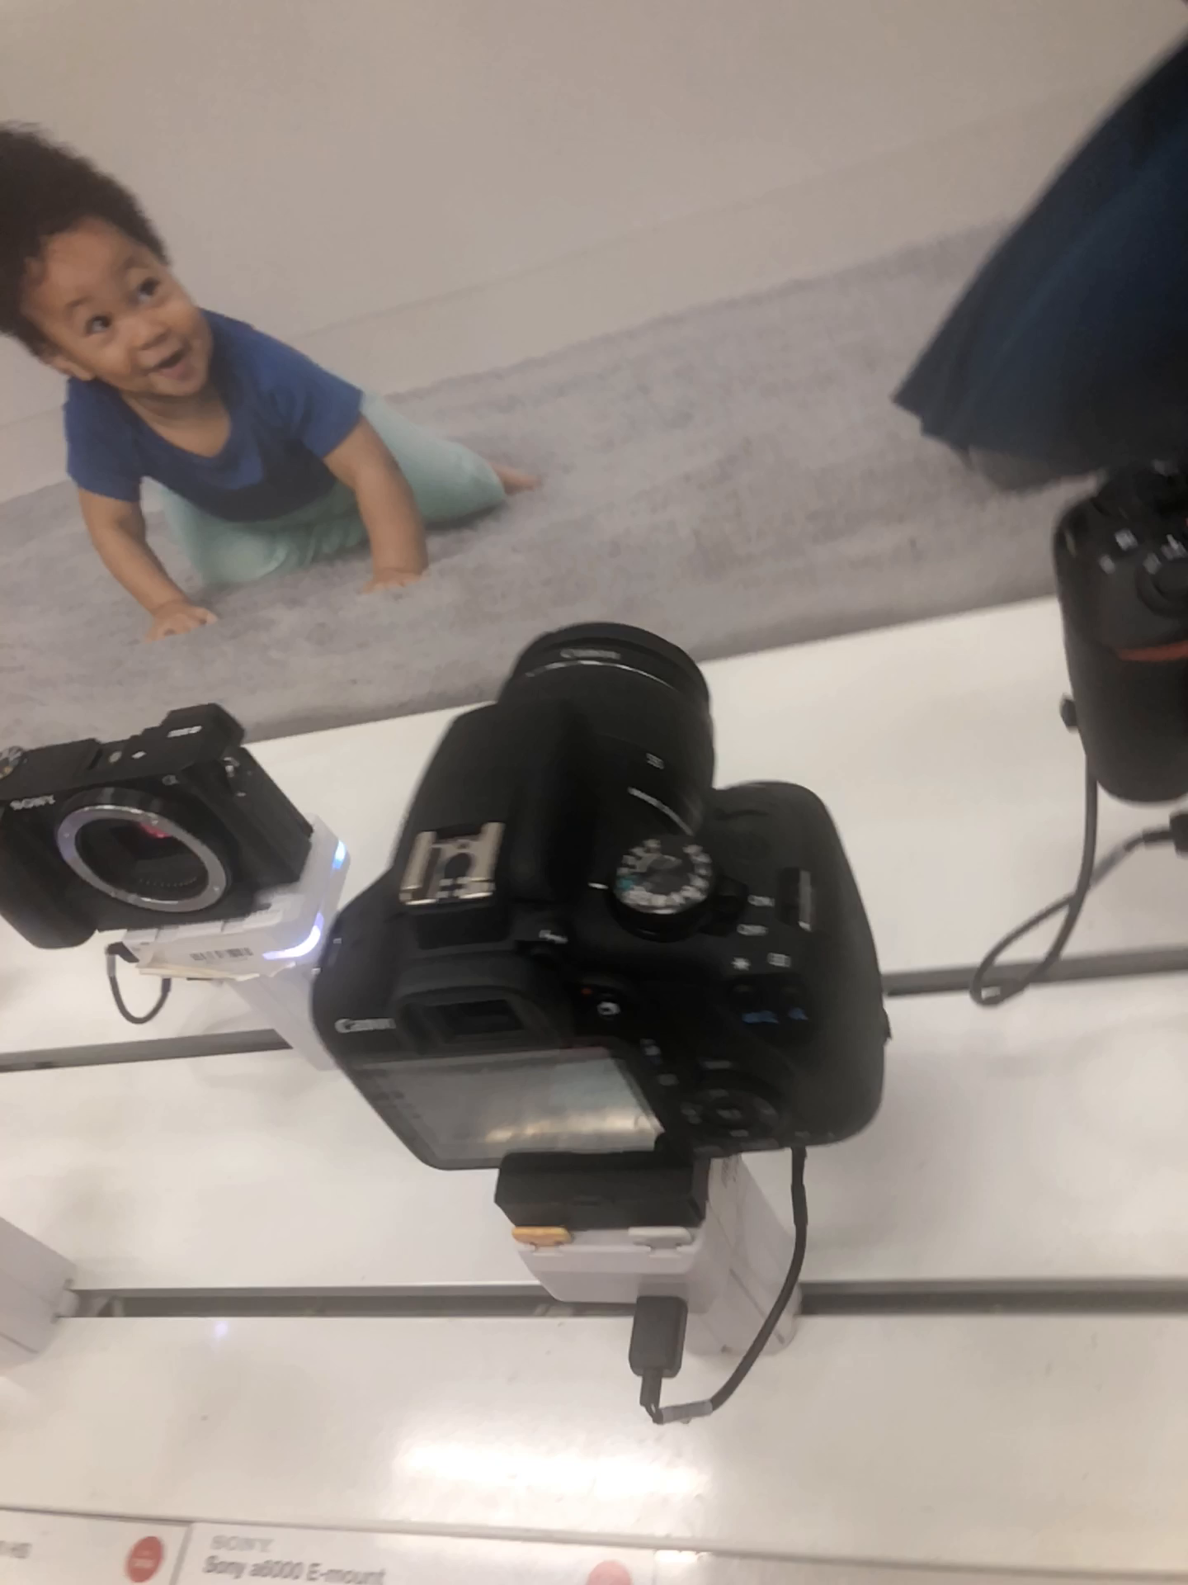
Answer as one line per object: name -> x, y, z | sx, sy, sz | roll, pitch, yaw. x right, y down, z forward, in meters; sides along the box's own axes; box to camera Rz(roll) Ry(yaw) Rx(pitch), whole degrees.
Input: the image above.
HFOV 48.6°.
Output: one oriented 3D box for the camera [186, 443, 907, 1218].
camera -> 0.002, 0.011, 0.348 | 0.140, 0.090, 0.170 | -8, 49, 20
